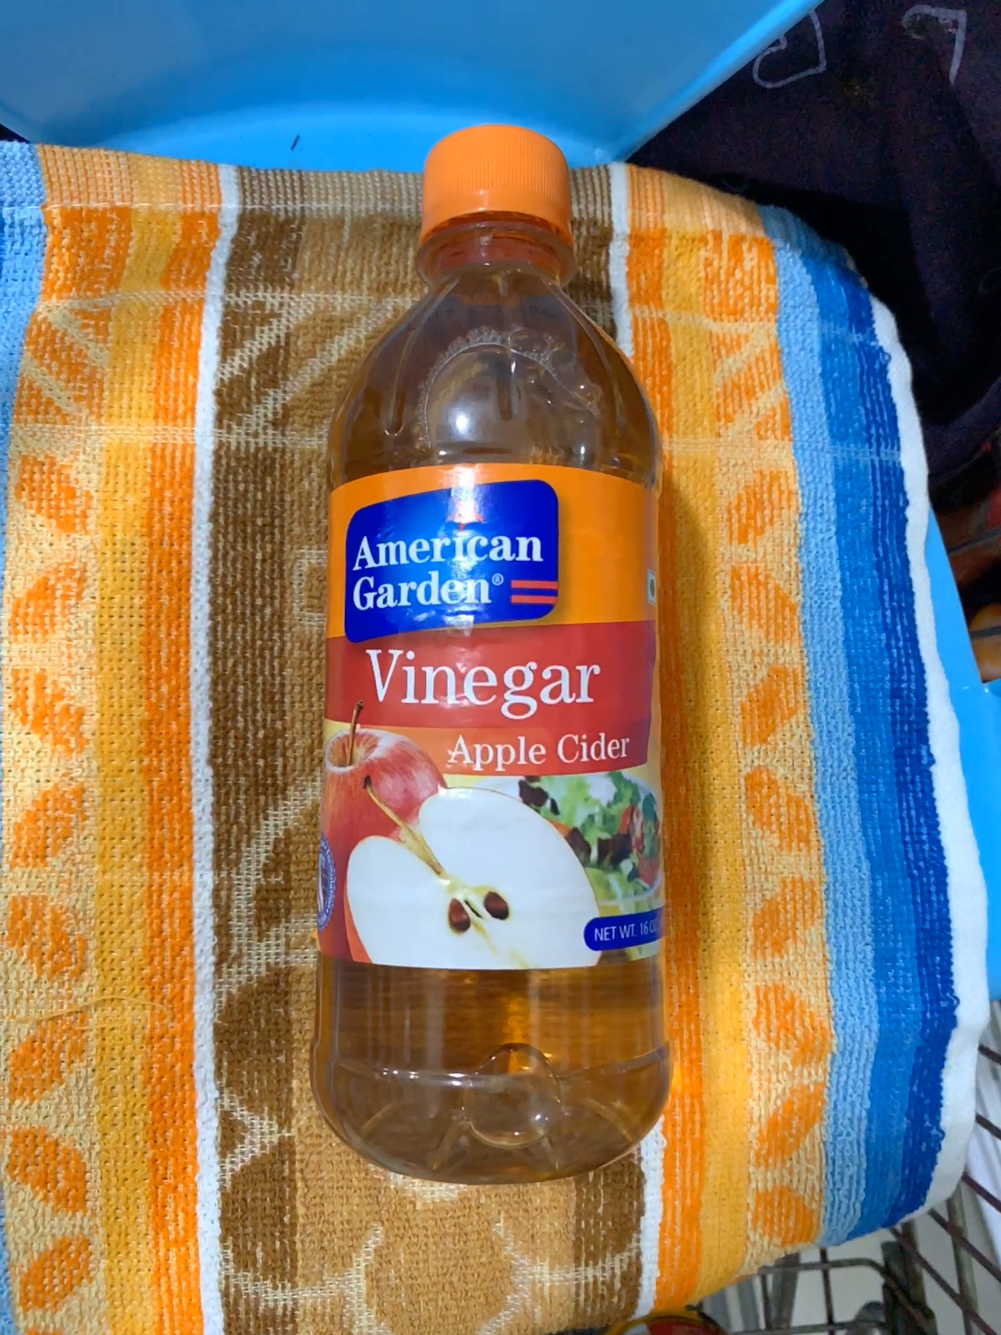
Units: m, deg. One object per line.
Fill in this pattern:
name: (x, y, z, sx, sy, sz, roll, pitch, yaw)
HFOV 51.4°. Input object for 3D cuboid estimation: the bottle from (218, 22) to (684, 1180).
bottle: (-0.007, -0.011, 0.190, 0.070, 0.050, 0.180, -2, 86, 7)
